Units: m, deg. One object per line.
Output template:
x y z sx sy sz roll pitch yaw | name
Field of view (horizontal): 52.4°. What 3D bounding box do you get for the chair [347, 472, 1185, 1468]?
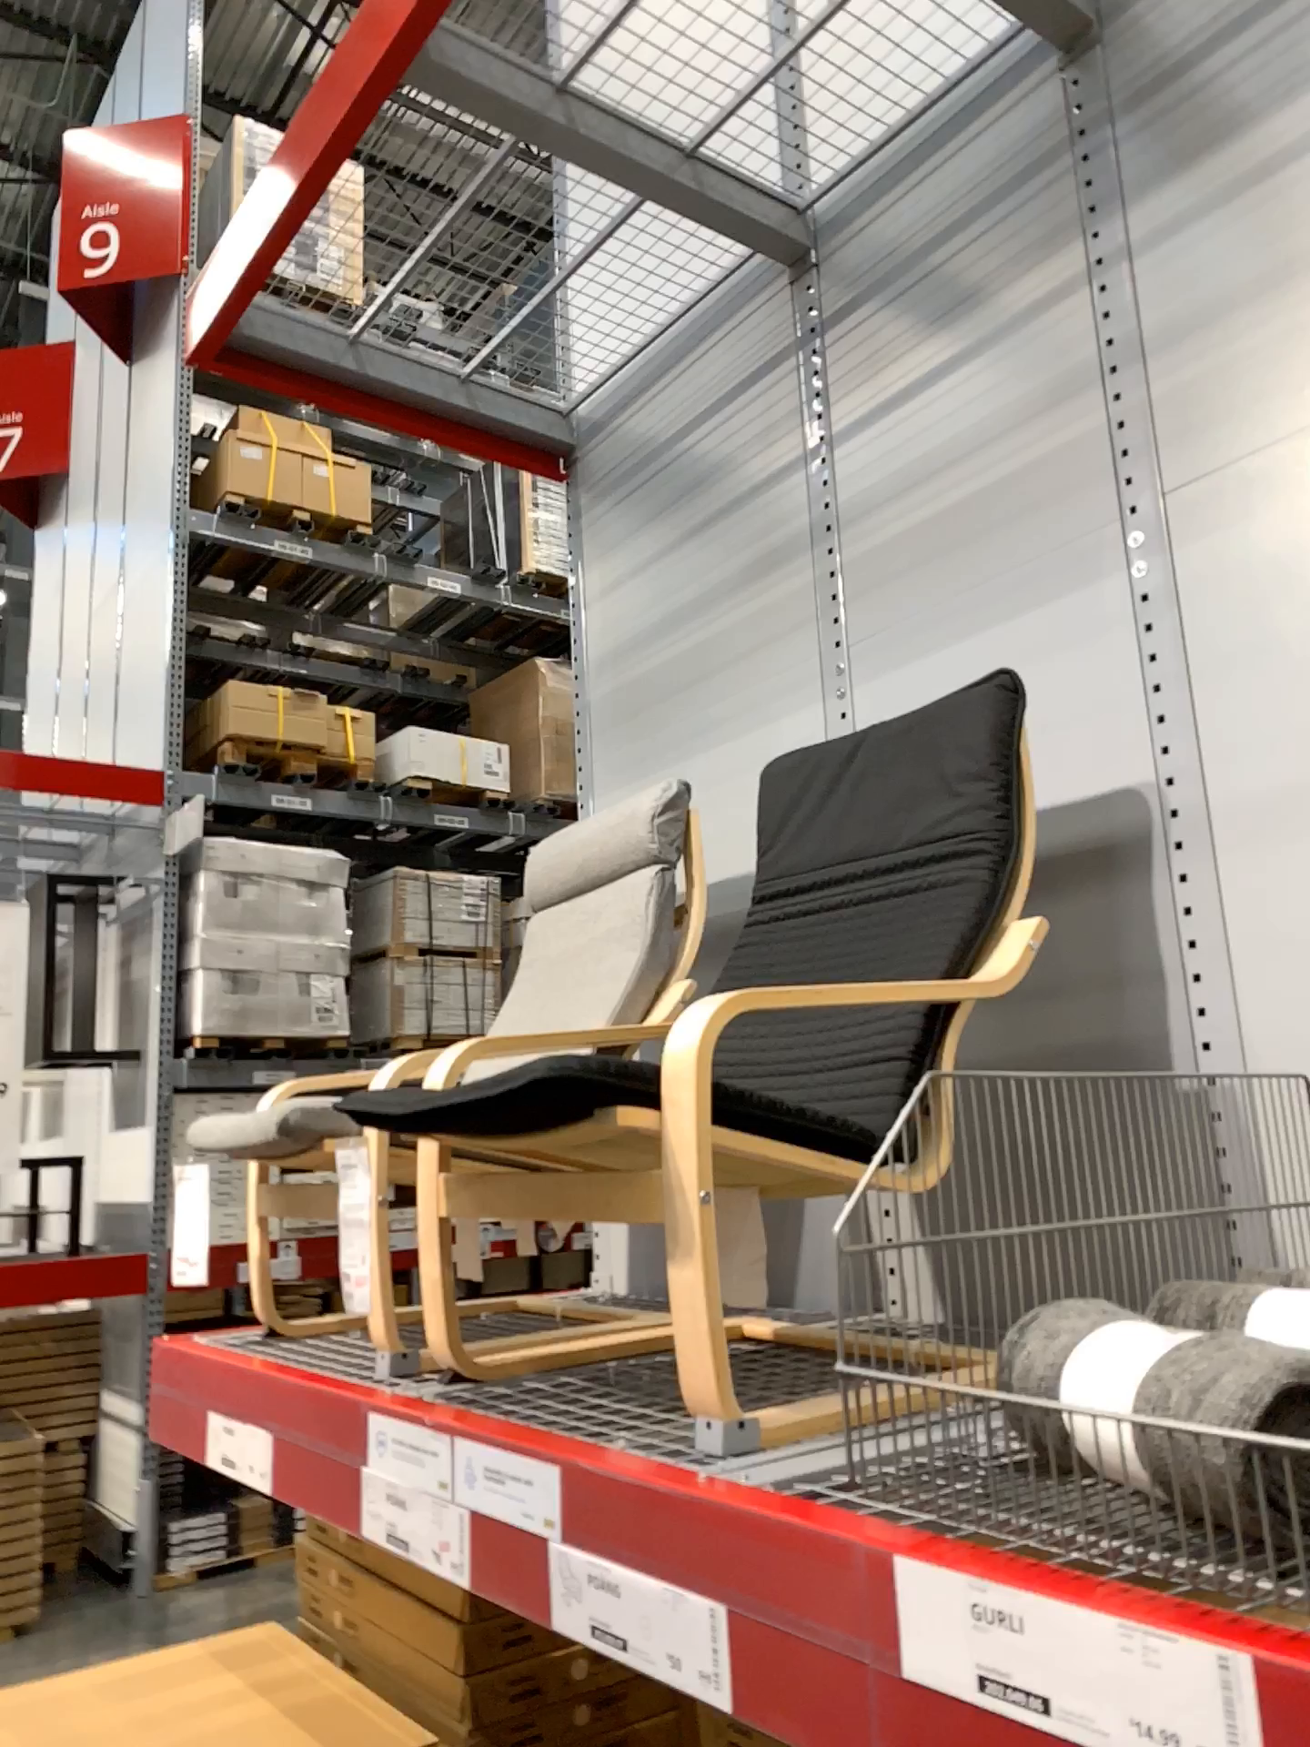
0.113 0.161 1.868 0.839 1.013 0.719 7 -15 -36 | chair
